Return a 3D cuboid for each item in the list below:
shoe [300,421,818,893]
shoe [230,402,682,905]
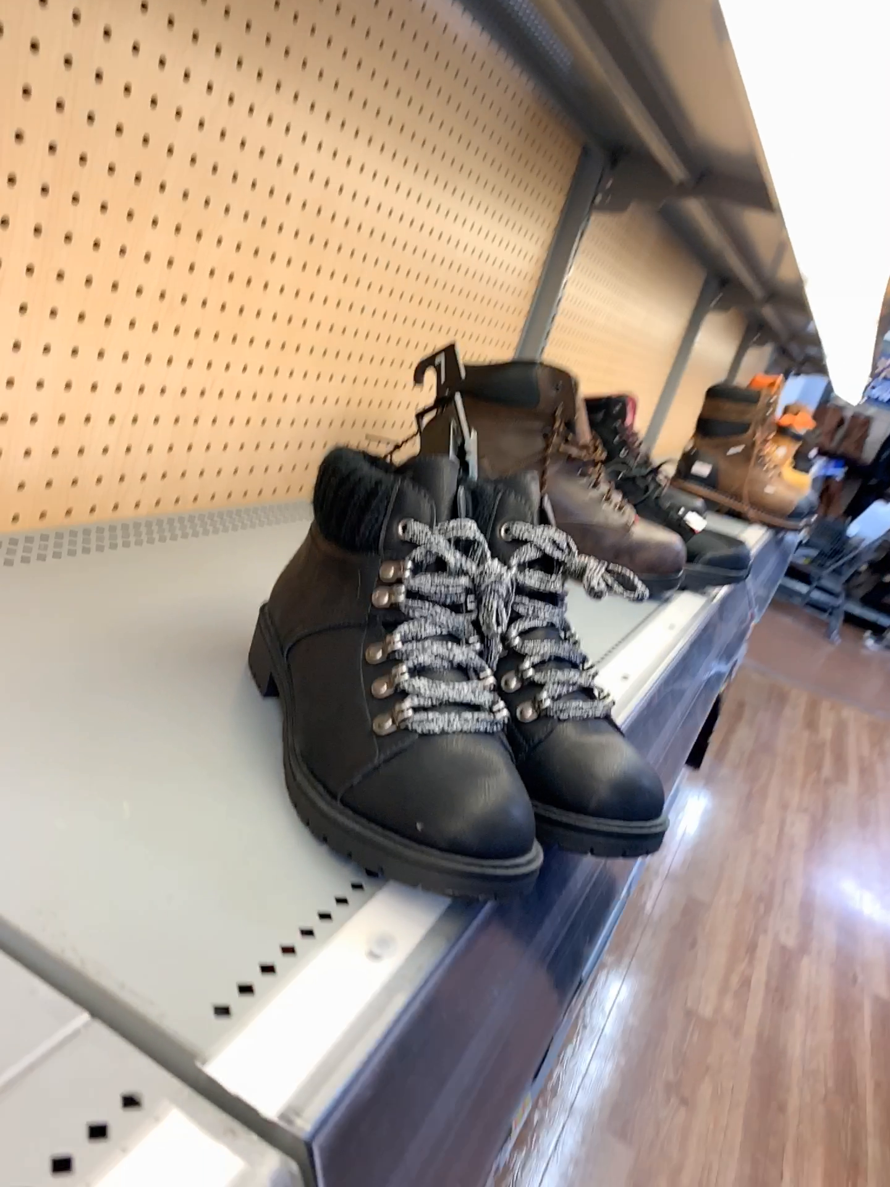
[{"bbox_3d":[0.044,0.018,0.486,0.105,0.137,0.231,2,24,-44],"label":"shoe"},{"bbox_3d":[-0.019,0.013,0.442,0.104,0.137,0.236,11,19,-26],"label":"shoe"}]
